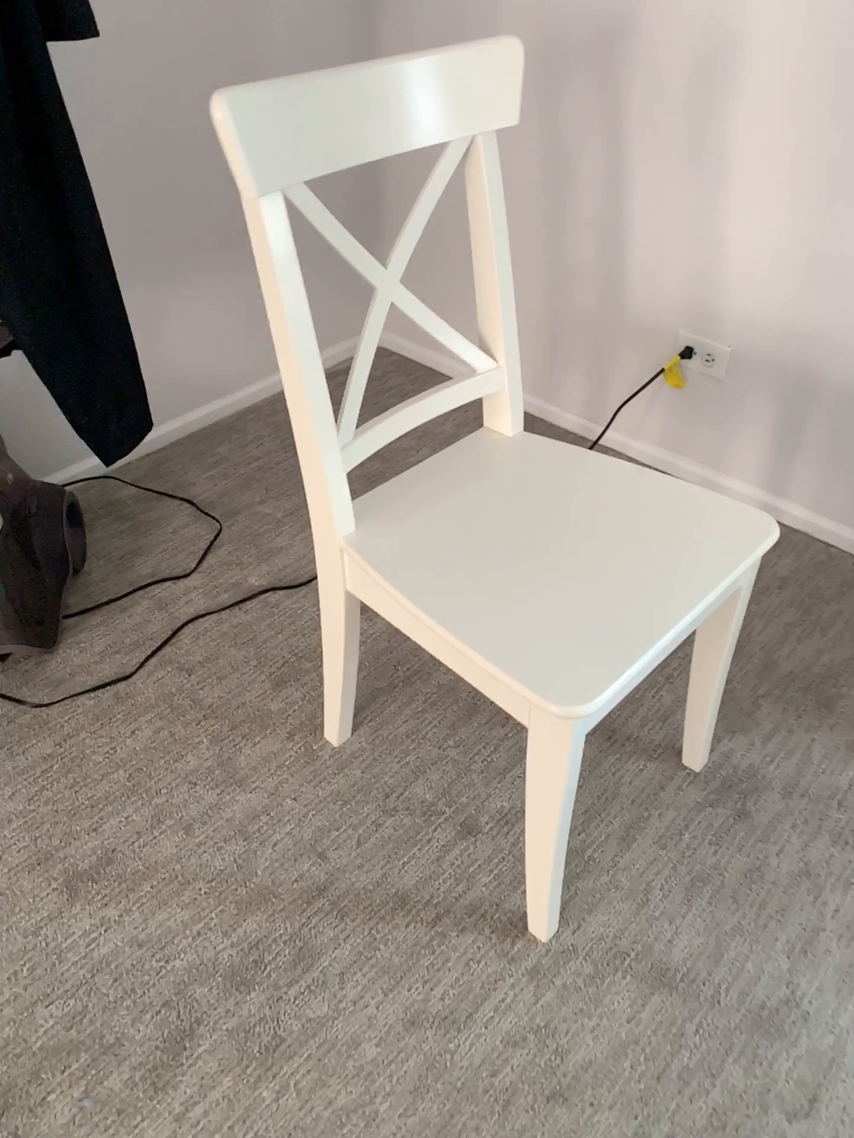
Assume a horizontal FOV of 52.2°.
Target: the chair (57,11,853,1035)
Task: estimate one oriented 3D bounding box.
[{"bbox_3d":[0.123,-0.094,0.953,0.572,0.765,0.612,31,49,31],"label":"chair"}]
